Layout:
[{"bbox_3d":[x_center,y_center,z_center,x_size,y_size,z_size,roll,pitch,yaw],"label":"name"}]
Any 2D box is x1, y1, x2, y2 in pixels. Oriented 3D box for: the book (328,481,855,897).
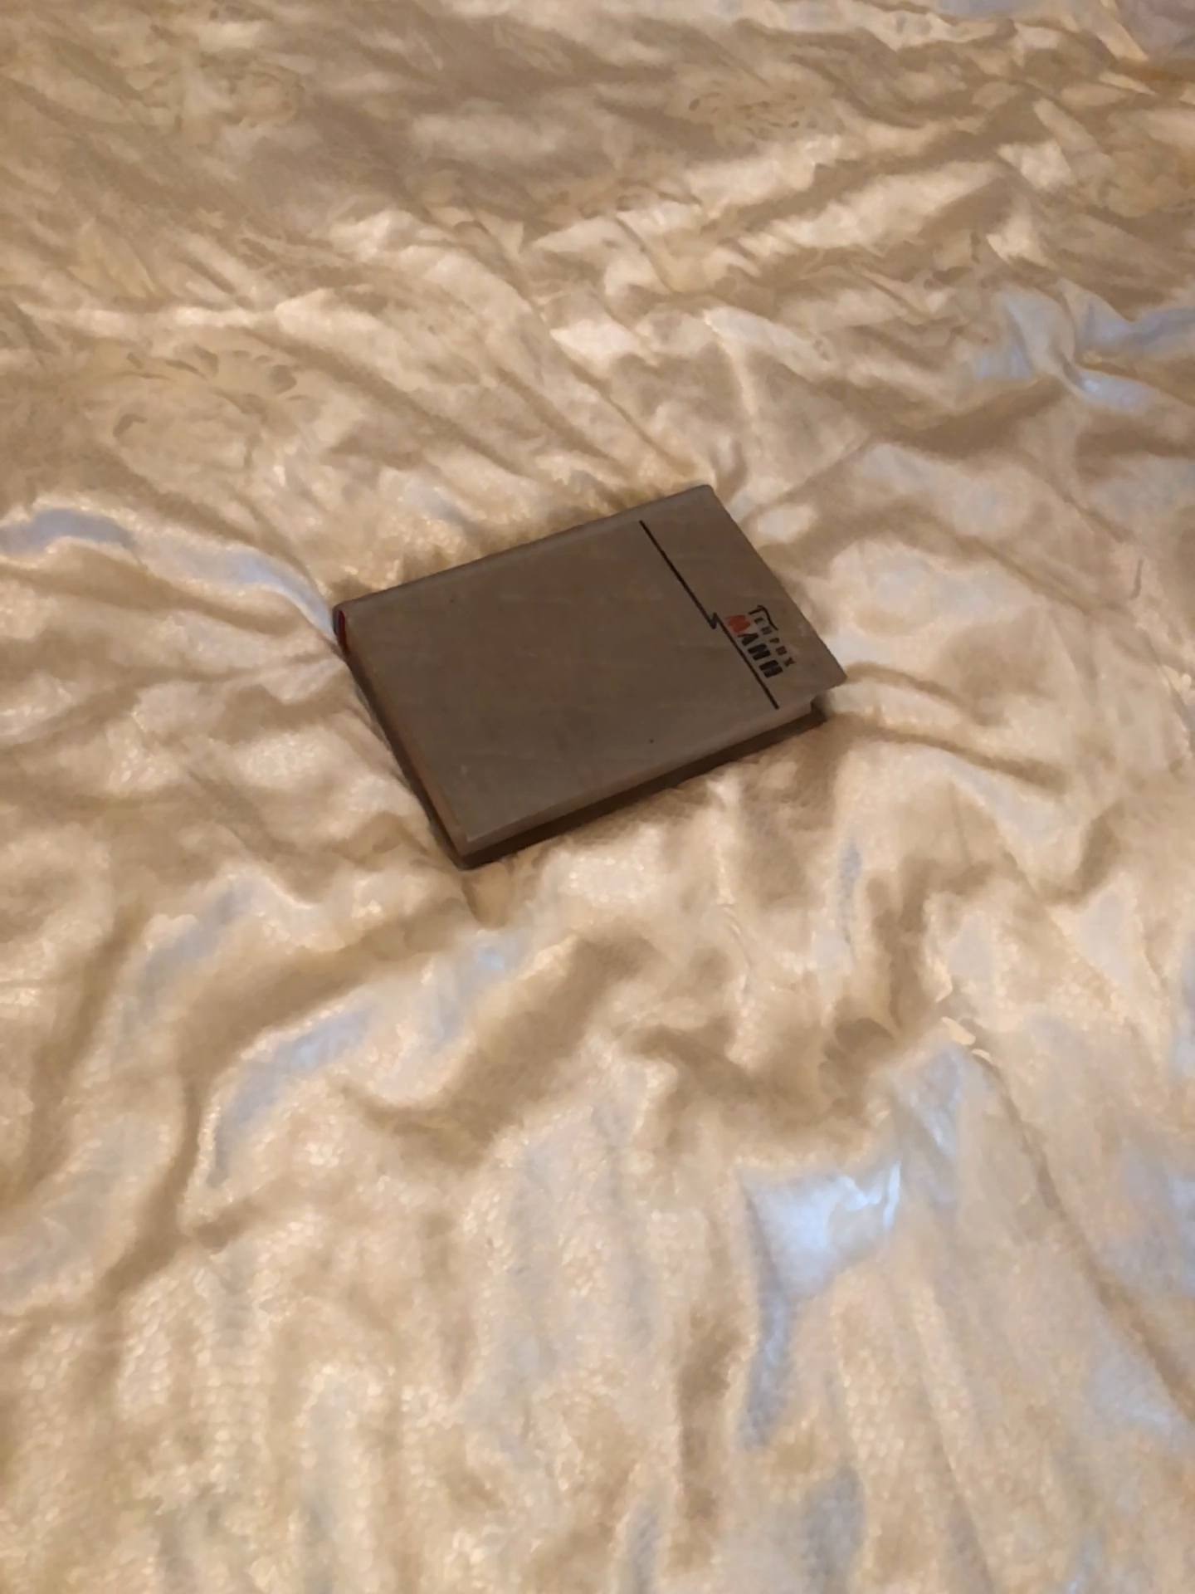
[{"bbox_3d":[-0.005,-0.059,0.639,0.208,0.051,0.142,-21,65,-21],"label":"book"}]
